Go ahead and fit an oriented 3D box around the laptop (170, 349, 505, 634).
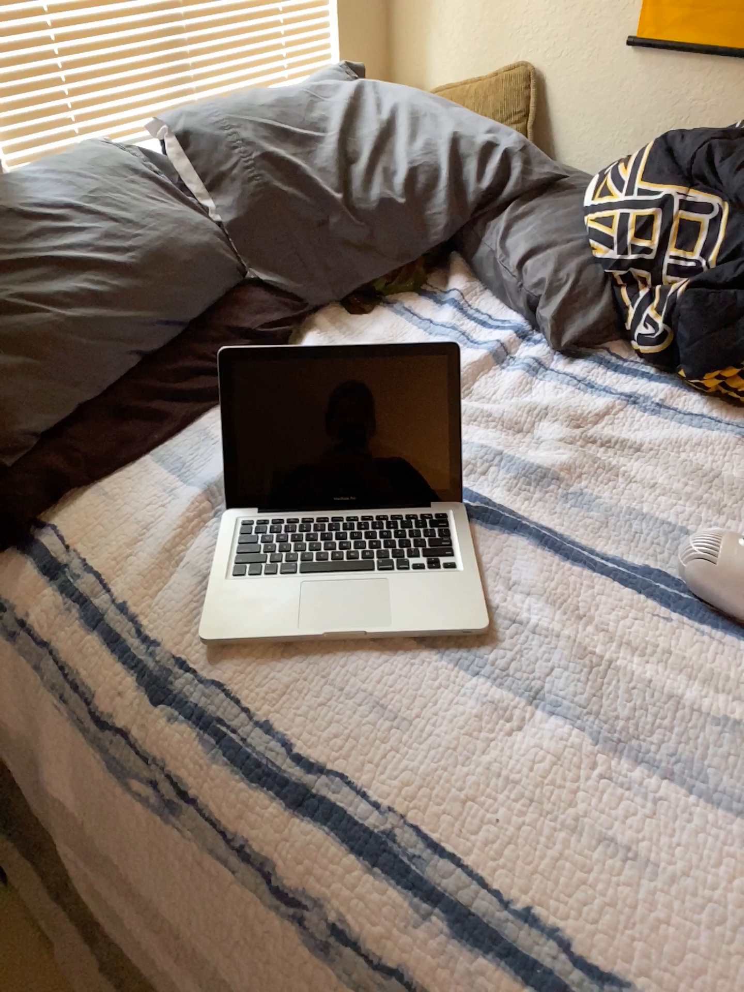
[{"bbox_3d":[-0.038,-0.021,0.914,0.319,0.169,0.348,-2,37,0],"label":"laptop"}]
